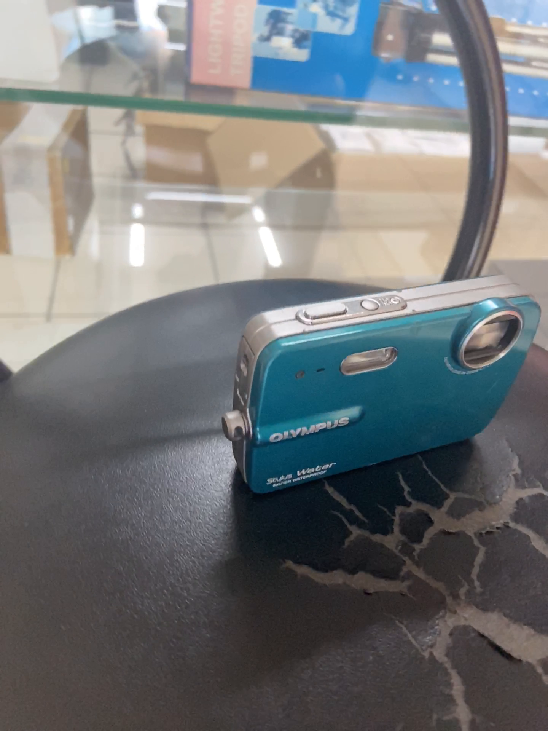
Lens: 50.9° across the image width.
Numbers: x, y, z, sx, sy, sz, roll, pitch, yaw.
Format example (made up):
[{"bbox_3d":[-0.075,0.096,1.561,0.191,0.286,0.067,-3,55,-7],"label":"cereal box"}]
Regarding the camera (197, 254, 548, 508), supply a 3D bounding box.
[{"bbox_3d":[0.031,0.002,0.167,0.100,0.050,0.030,-10,42,-20],"label":"camera"}]
